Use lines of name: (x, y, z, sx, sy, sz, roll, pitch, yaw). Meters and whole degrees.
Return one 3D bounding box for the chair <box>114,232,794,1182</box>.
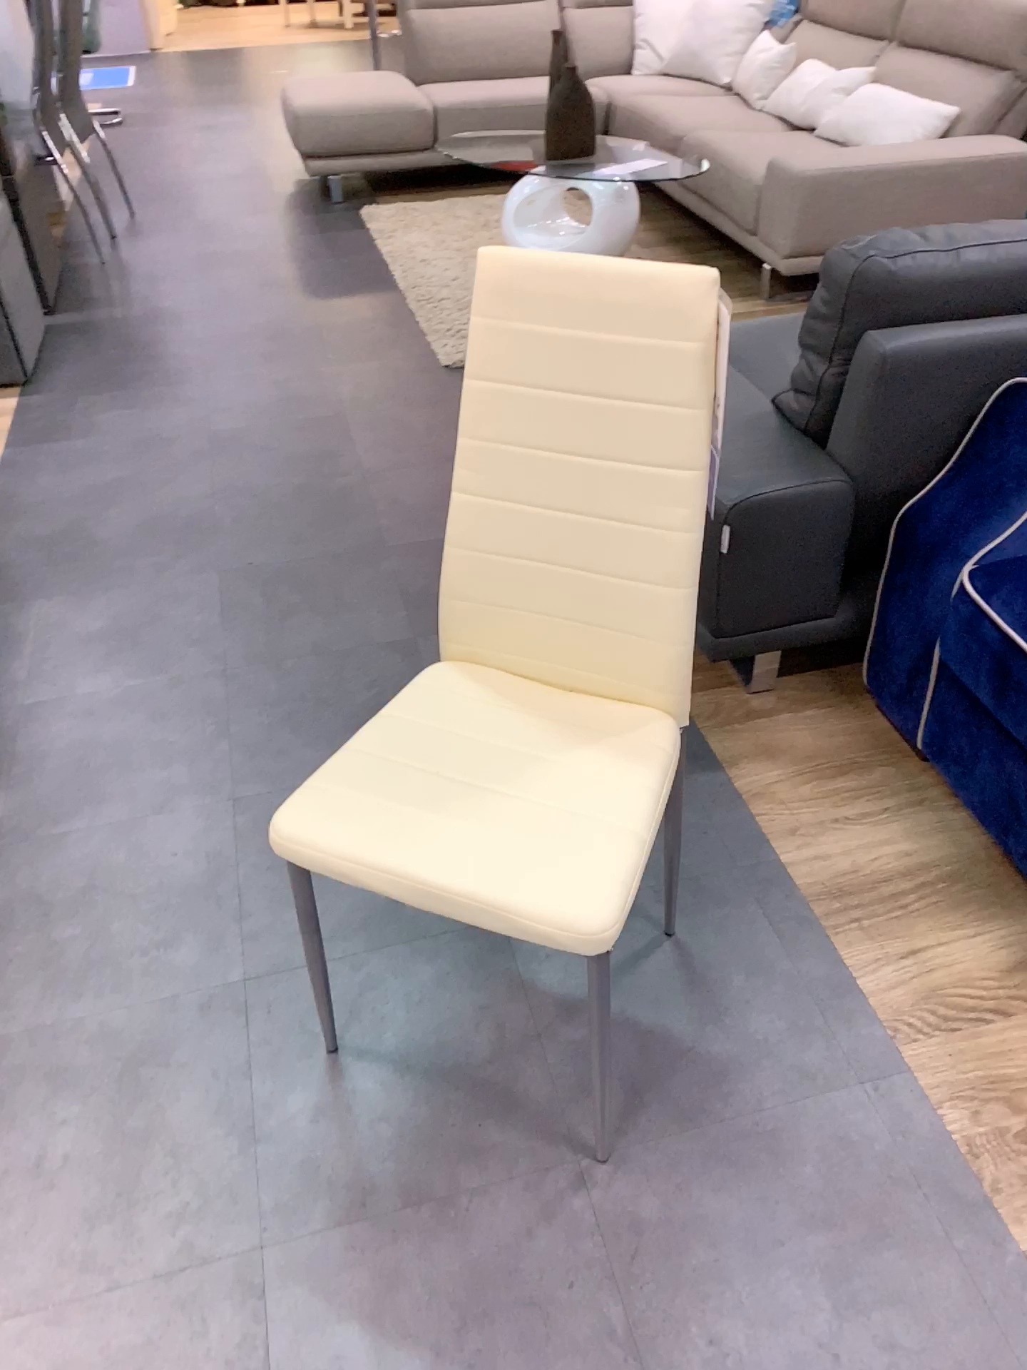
chair: (-0.007, 0.045, 1.234, 0.445, 0.940, 0.480, 14, 41, 20)
